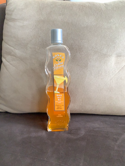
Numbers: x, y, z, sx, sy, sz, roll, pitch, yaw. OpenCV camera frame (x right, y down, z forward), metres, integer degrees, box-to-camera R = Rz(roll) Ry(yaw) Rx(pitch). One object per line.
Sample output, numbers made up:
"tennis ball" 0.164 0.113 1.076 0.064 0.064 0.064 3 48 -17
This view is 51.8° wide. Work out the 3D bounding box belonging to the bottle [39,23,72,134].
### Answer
"bottle" -0.017 -0.008 0.382 0.080 0.299 0.080 0 12 0
